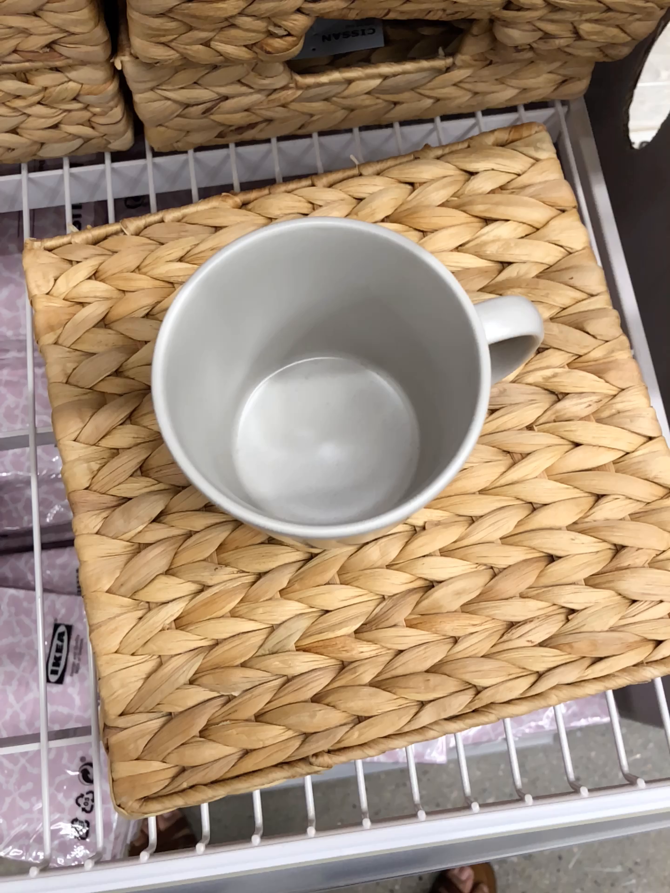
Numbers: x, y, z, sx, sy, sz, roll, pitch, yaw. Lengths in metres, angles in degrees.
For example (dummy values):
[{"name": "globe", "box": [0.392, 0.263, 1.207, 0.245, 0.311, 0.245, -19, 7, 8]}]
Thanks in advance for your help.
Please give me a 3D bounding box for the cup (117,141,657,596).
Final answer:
[{"name": "cup", "box": [0.011, -0.016, 0.239, 0.120, 0.090, 0.090, -15, 74, -3]}]
